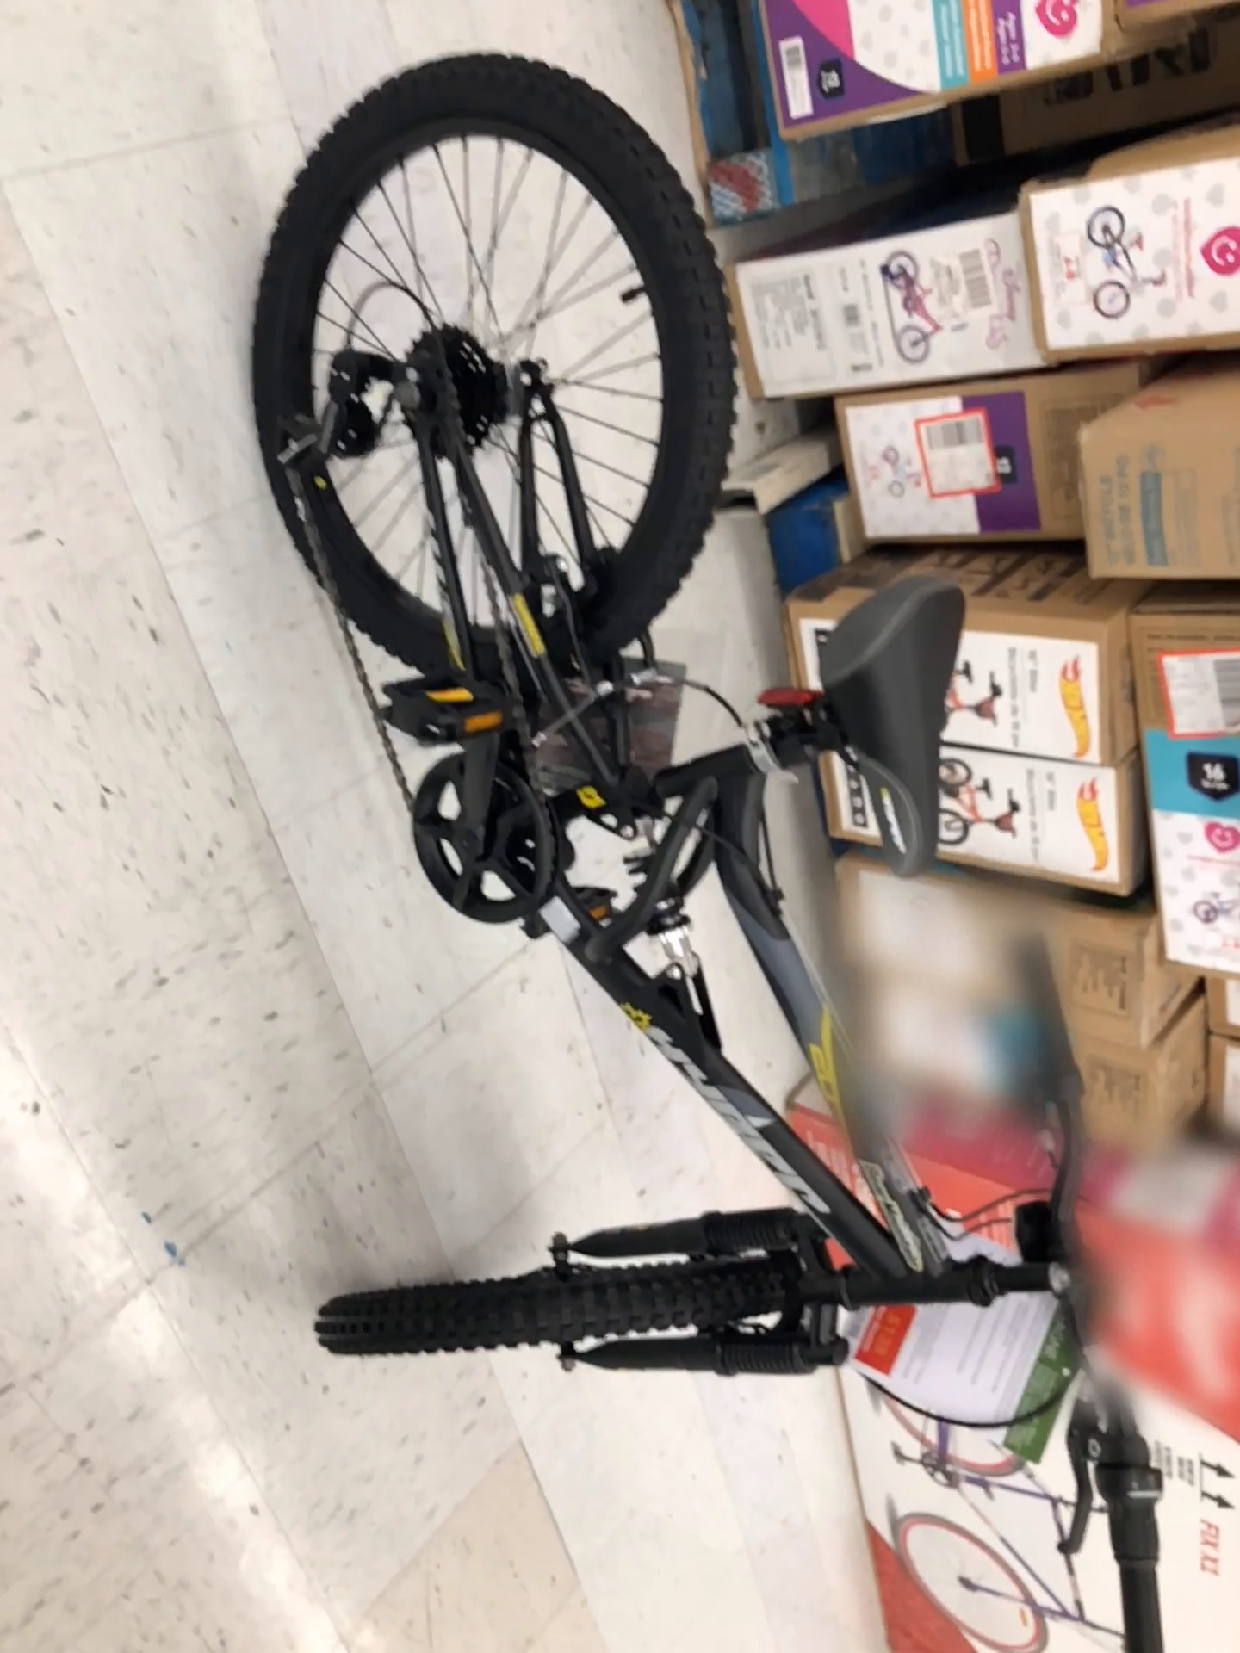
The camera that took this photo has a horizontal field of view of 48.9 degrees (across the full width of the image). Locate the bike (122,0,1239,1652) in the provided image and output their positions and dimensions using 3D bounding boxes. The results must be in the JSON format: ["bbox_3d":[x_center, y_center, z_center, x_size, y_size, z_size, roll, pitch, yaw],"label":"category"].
[{"bbox_3d":[0.243,-0.032,1.288,0.525,0.848,1.260,-32,118,-41],"label":"bike"}]
